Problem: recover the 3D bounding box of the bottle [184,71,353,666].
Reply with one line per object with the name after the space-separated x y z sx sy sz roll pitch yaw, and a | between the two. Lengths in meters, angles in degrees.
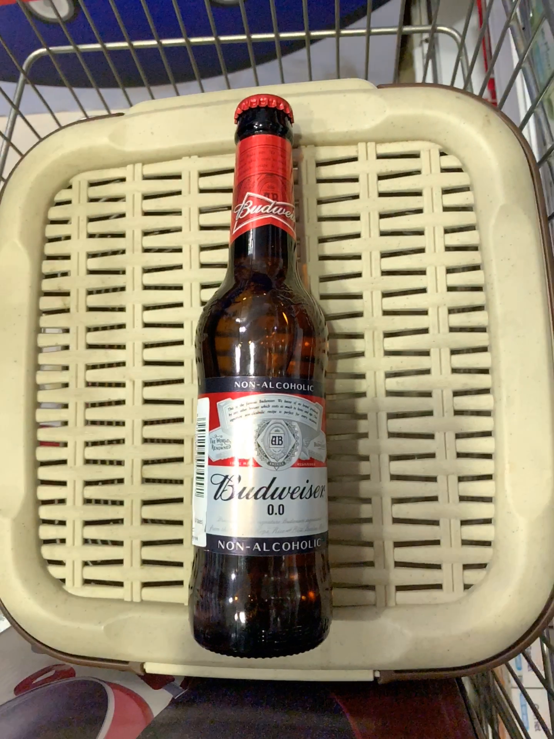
-0.006 -0.003 0.245 0.060 0.060 0.220 2 83 -10 | bottle
